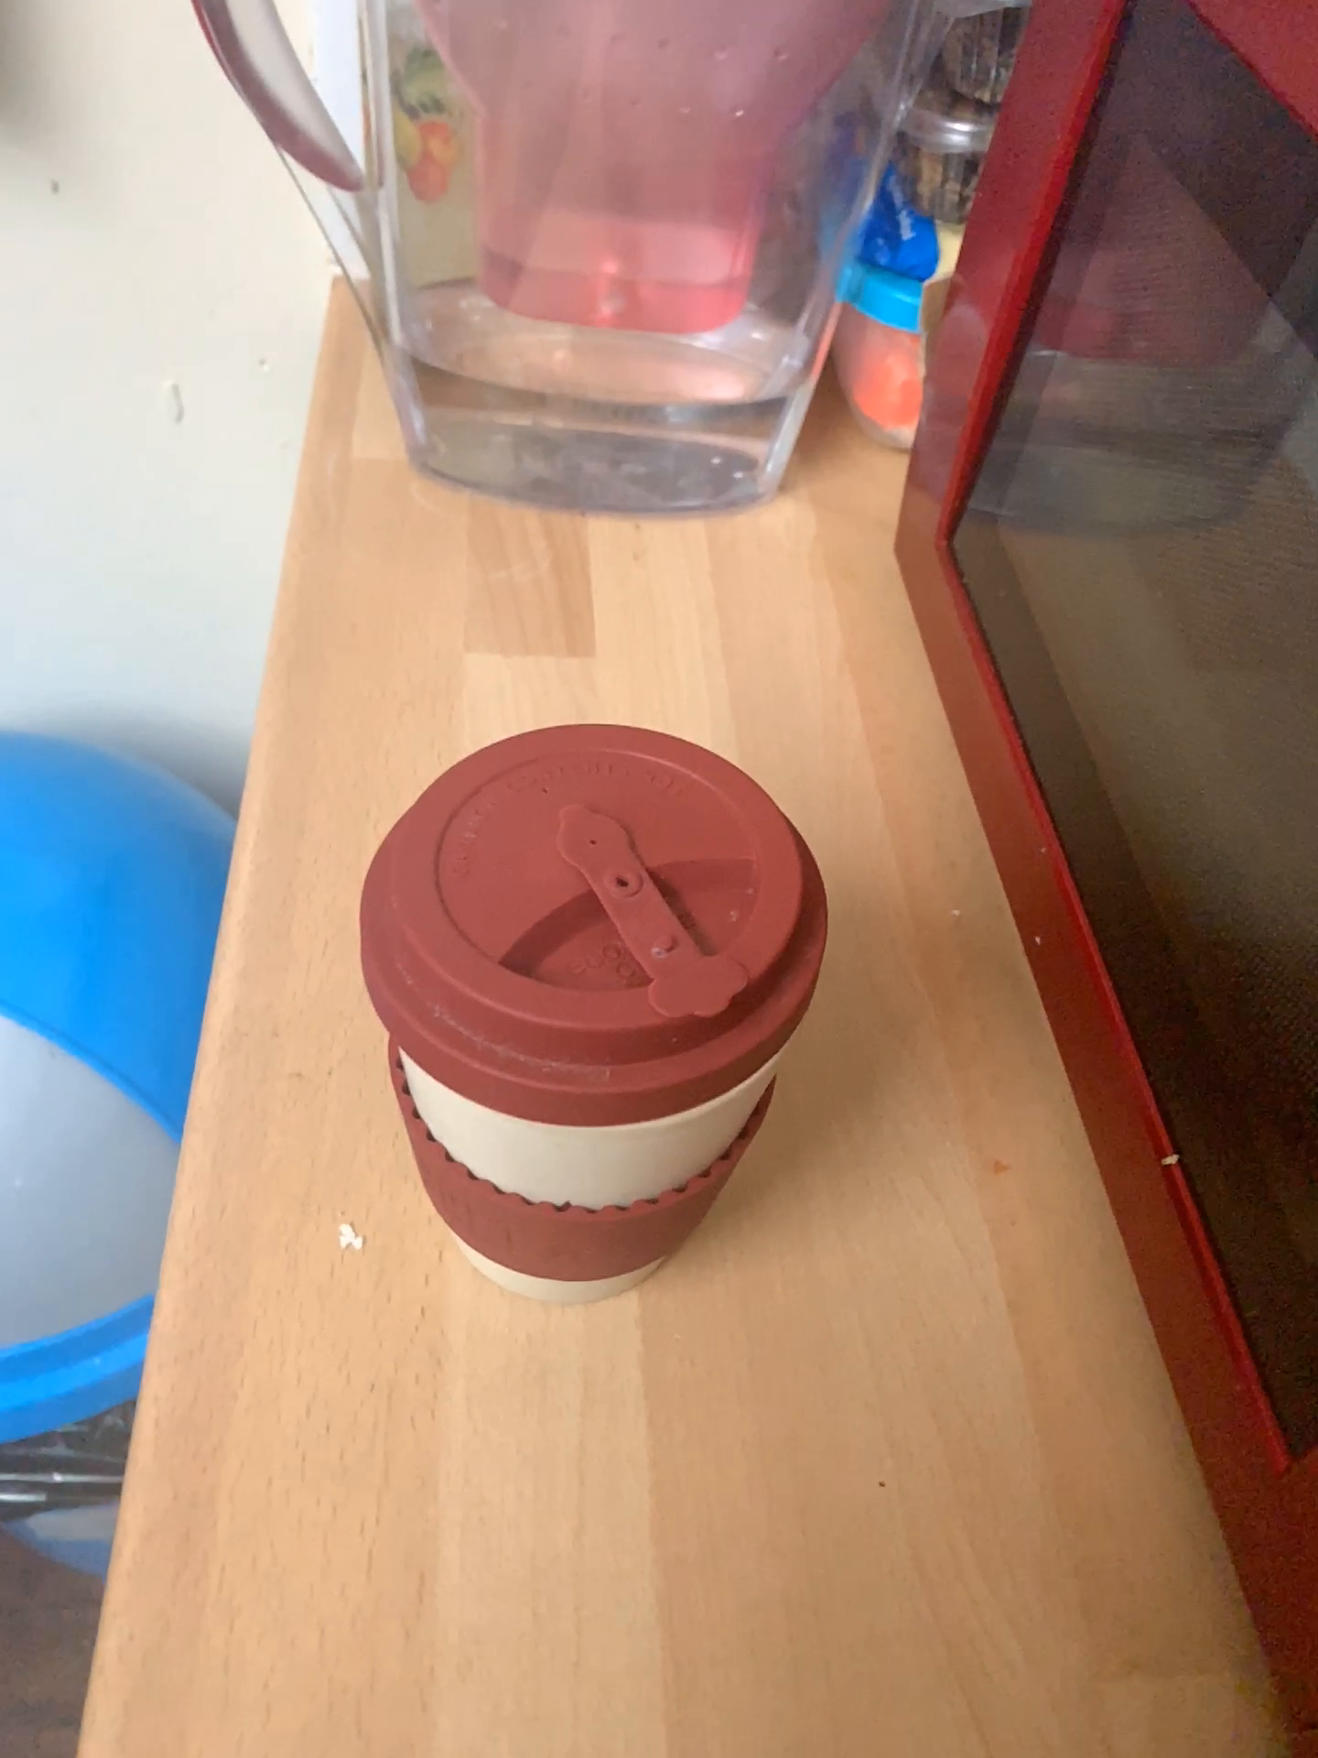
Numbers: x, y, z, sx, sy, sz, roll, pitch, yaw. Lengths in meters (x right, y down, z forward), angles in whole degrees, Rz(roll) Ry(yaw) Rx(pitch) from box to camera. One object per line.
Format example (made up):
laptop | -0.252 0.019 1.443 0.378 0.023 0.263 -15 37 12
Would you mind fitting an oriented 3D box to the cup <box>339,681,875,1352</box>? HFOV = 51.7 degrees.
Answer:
cup | -0.018 0.031 0.289 0.086 0.115 0.088 4 50 -4
